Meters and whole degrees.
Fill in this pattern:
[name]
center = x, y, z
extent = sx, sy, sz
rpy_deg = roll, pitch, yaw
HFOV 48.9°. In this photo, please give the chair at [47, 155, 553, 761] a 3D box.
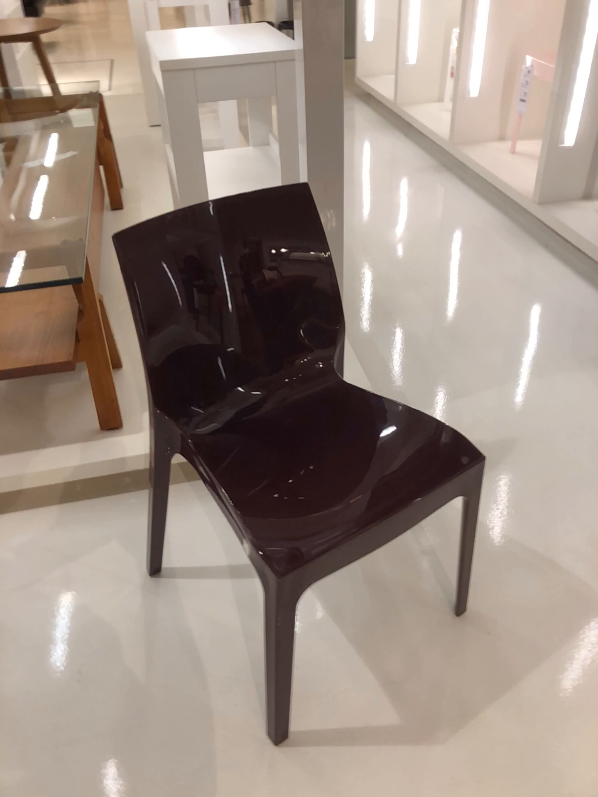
[chair]
center = -0.011, 0.080, 1.224
extent = 0.531, 0.814, 0.563
rpy_deg = -24, 42, -27
